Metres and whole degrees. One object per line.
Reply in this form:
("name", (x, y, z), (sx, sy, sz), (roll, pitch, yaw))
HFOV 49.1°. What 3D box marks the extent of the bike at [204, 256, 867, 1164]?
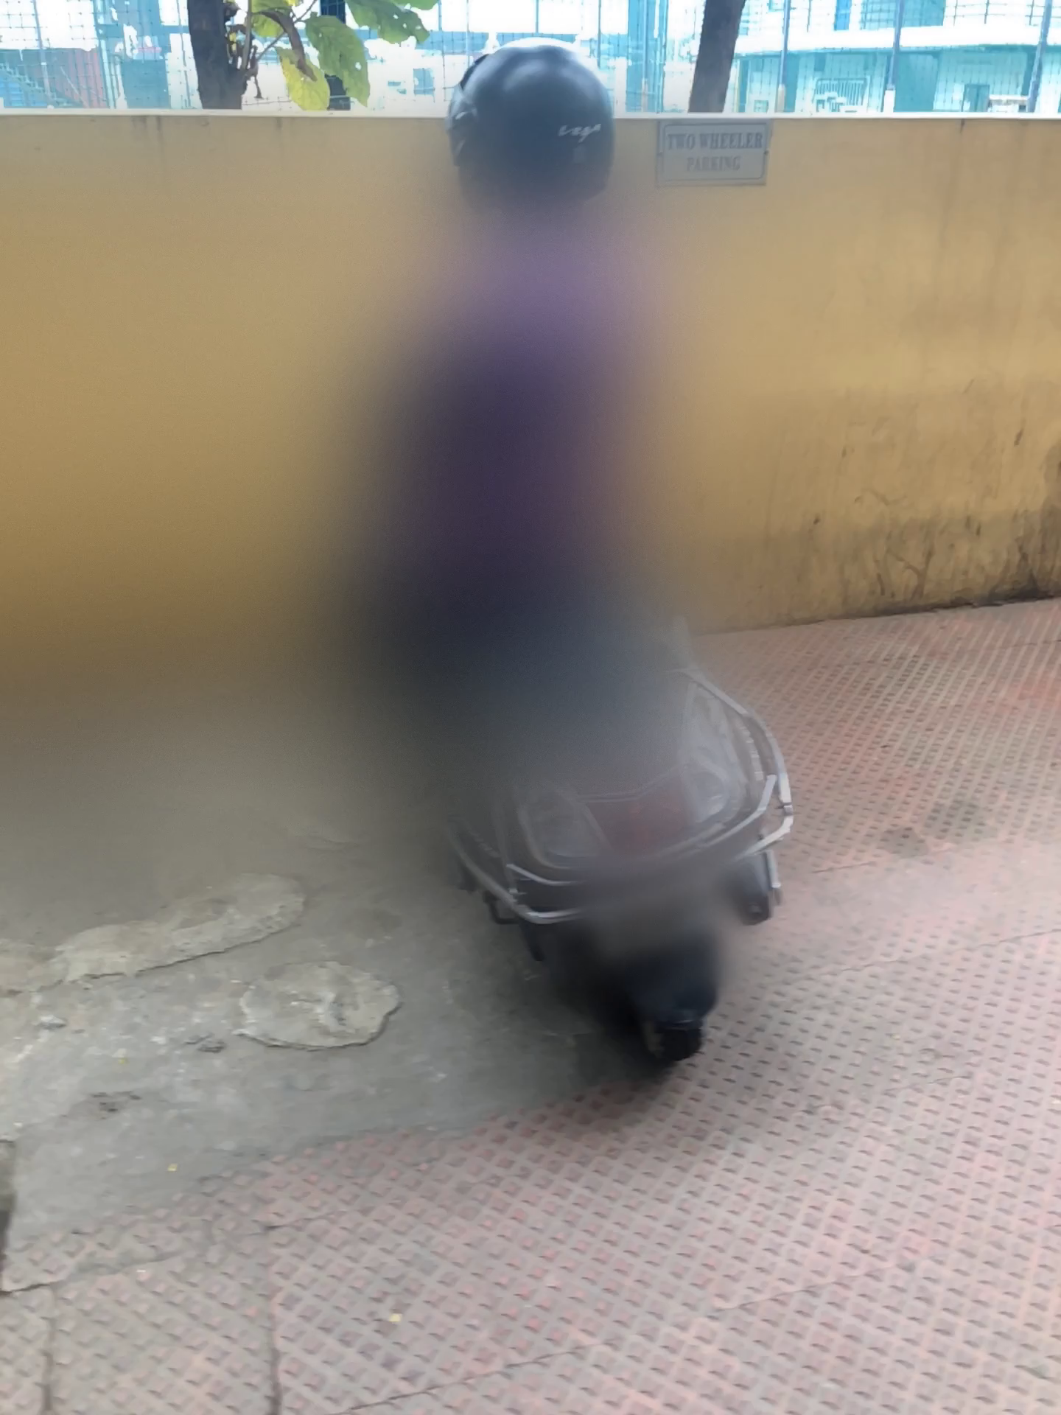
("bike", (-0.179, -0.193, 2.417), (0.644, 1.182, 1.722), (-9, 30, -17))
